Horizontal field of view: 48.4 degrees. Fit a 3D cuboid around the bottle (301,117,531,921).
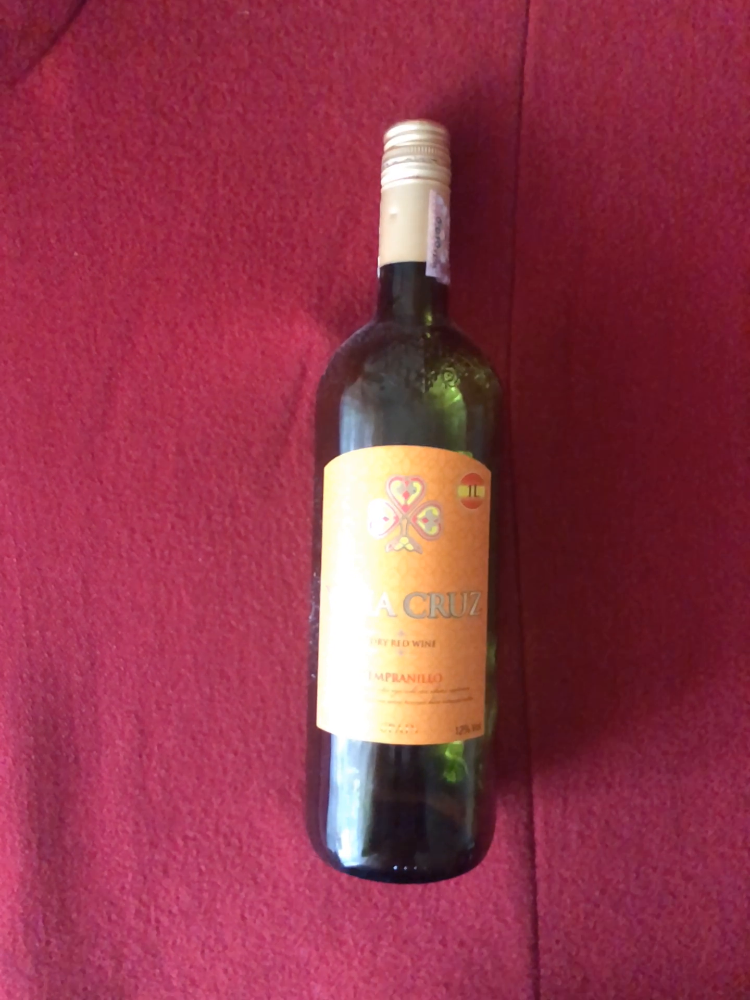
[{"bbox_3d":[0.016,0.007,0.348,0.080,0.070,0.300,1,91,2],"label":"bottle"}]
